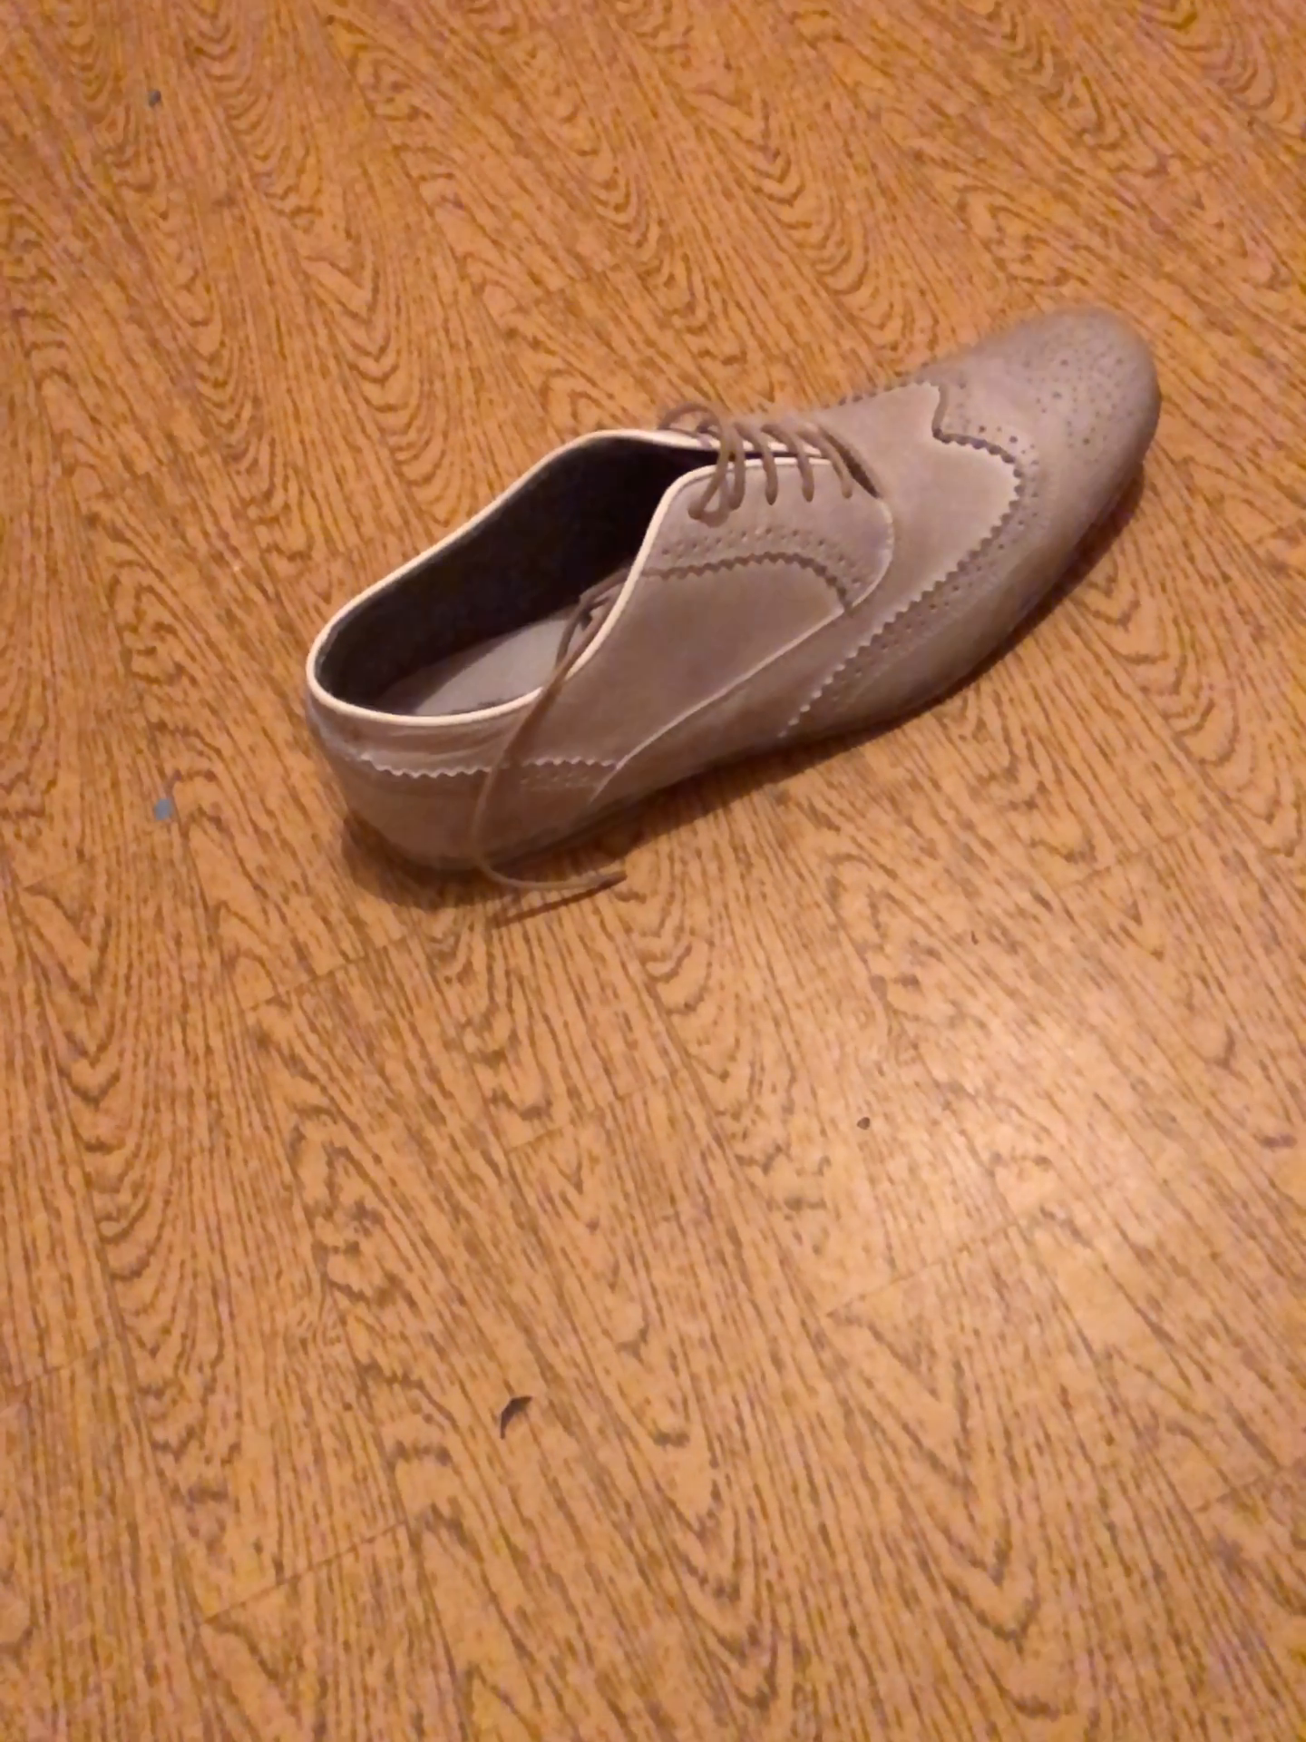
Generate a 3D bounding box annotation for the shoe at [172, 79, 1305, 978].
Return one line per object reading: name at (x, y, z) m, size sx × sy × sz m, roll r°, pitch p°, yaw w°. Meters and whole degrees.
shoe at (0.029, -0.103, 0.445) m, size 0.300 × 0.110 × 0.110 m, roll -28°, pitch 63°, yaw -6°
